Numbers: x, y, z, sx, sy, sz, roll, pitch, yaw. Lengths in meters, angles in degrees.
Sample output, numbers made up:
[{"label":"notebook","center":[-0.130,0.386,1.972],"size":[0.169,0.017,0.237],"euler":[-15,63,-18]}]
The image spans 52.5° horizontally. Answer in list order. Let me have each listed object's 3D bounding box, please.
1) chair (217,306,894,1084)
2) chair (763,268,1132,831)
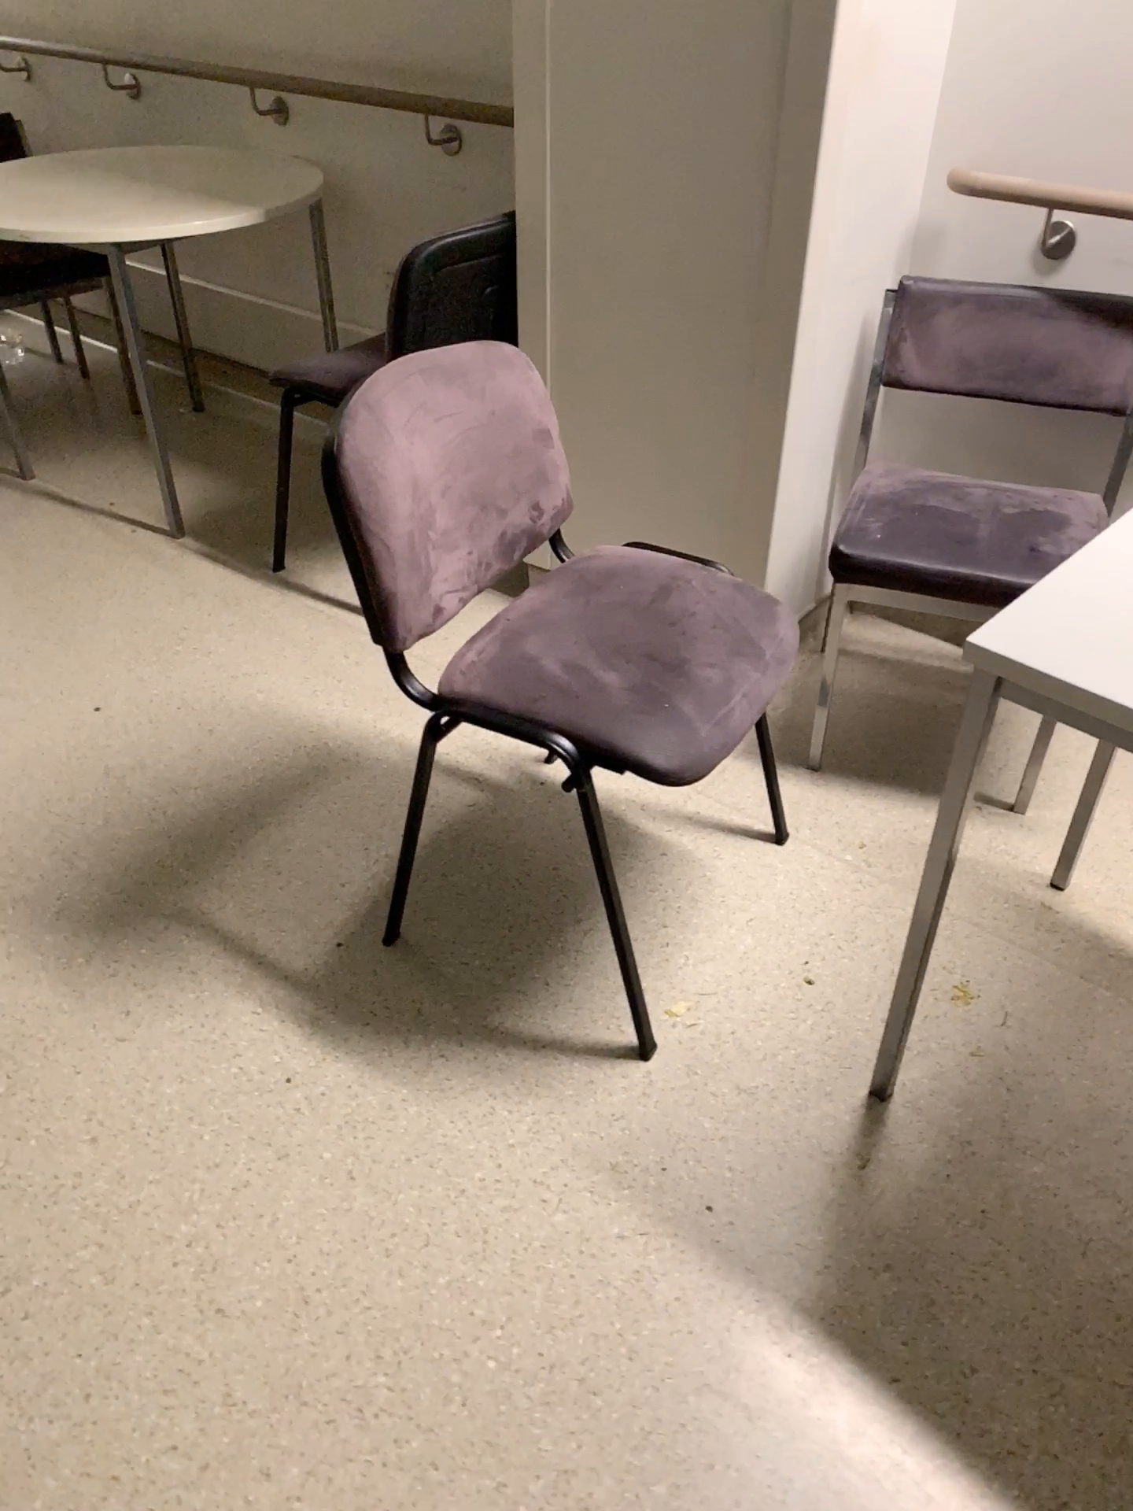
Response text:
[{"label":"chair","center":[0.010,-0.122,1.605],"size":[0.601,0.752,0.605],"euler":[18,40,22]},{"label":"chair","center":[0.684,-0.375,1.997],"size":[0.500,0.723,0.565],"euler":[12,37,15]}]
